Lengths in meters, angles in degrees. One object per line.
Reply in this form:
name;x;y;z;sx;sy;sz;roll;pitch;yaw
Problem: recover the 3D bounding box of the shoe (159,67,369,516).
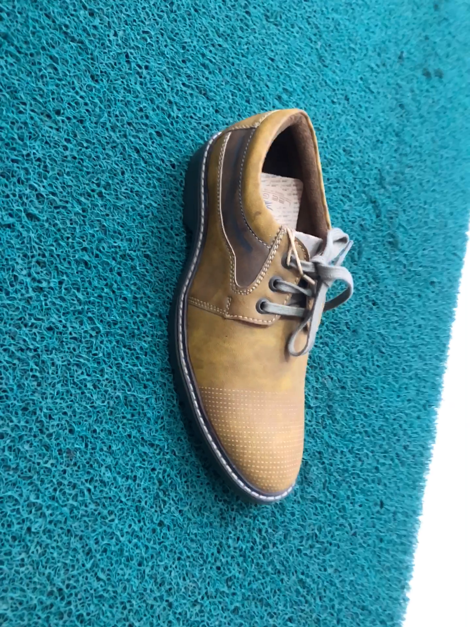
shoe;0.013;-0.013;0.408;0.101;0.109;0.300;6;75;-35
